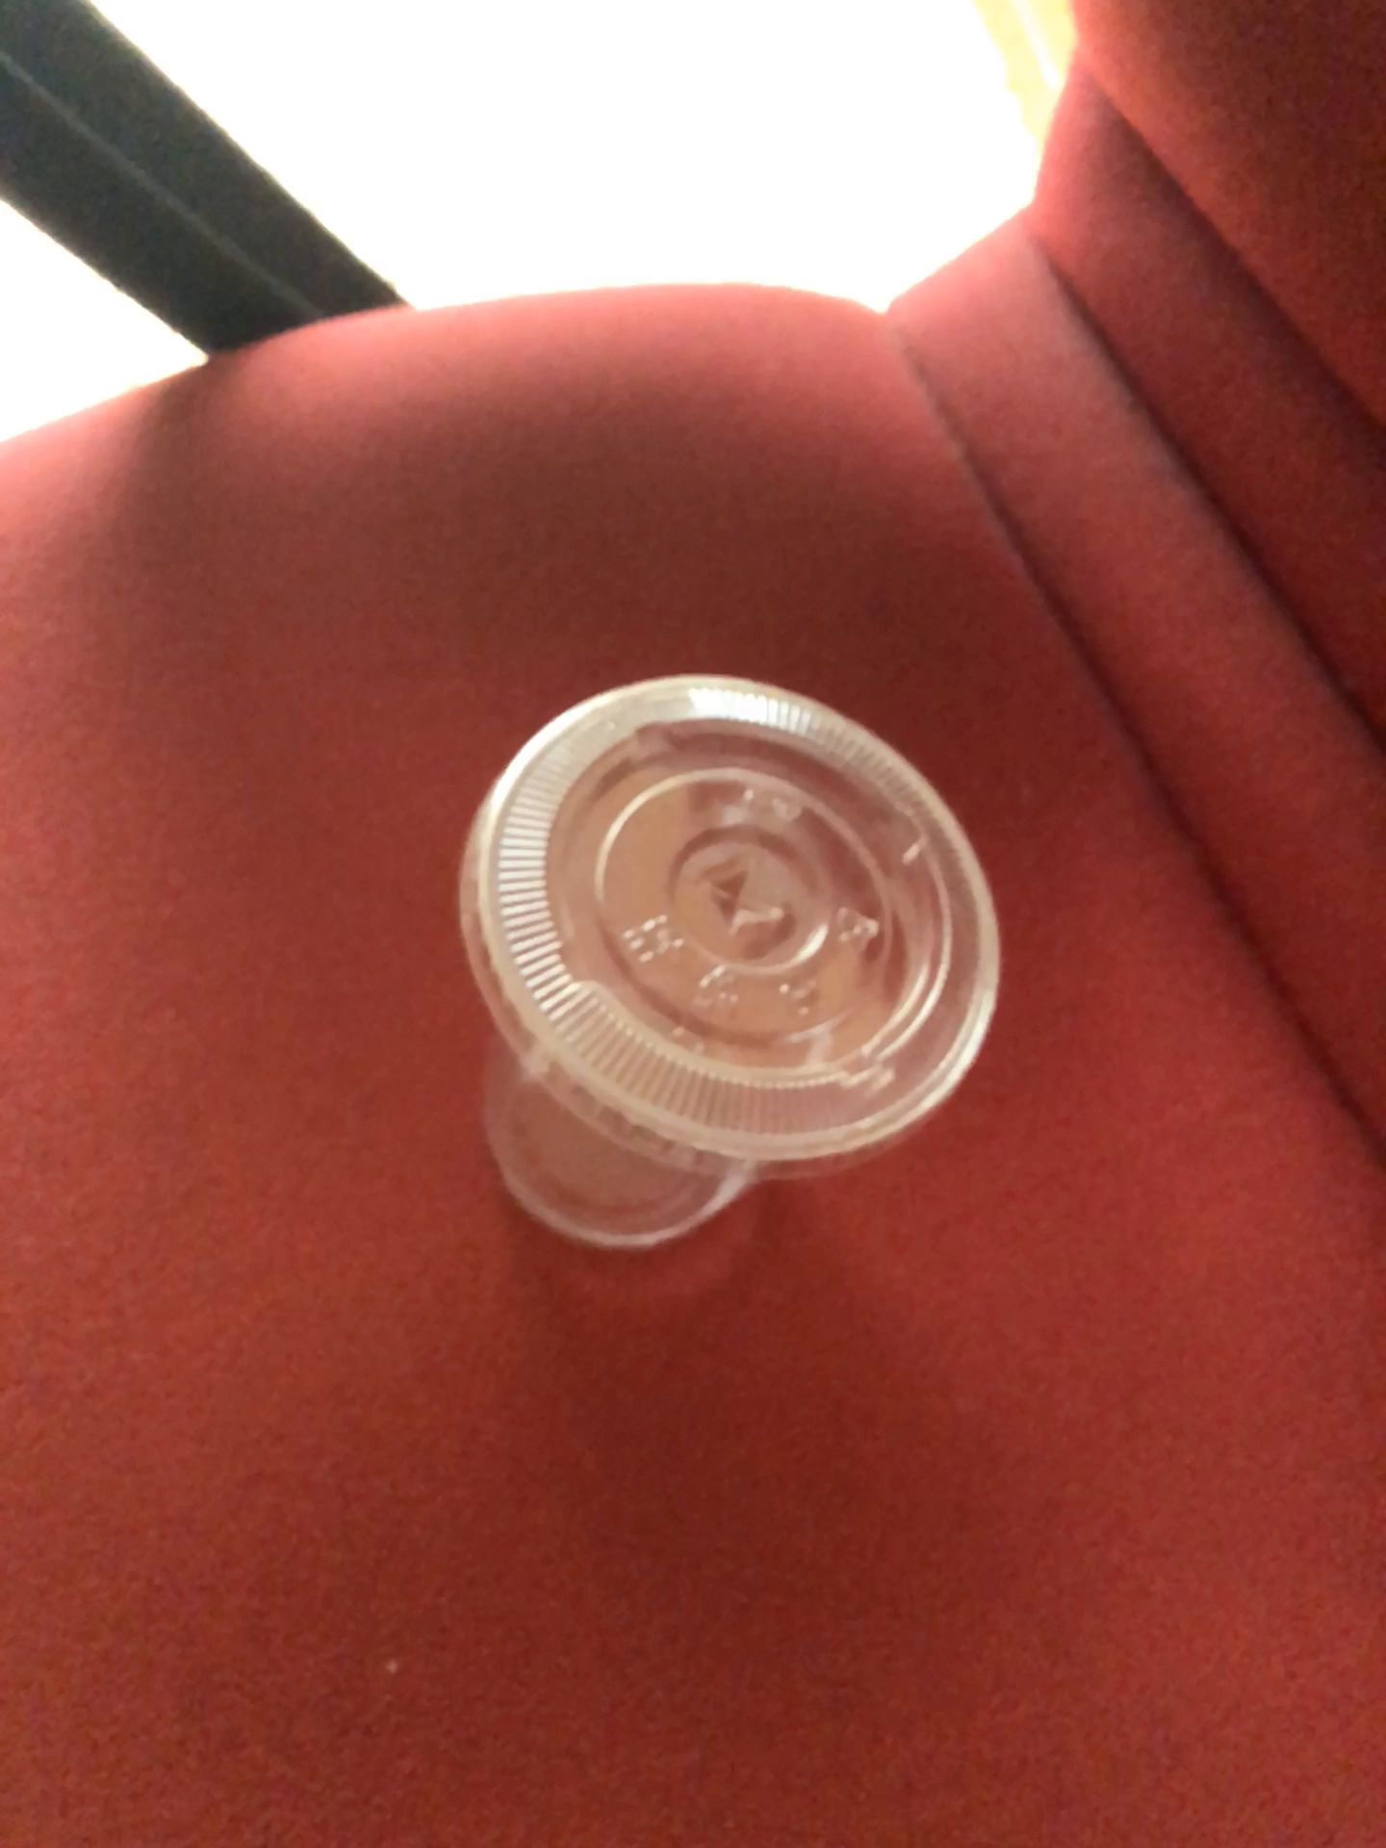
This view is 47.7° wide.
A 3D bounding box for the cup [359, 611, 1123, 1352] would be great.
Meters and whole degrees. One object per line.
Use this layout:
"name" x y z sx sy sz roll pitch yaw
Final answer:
"cup" 0.000 0.011 0.301 0.100 0.090 0.100 8 60 -14
